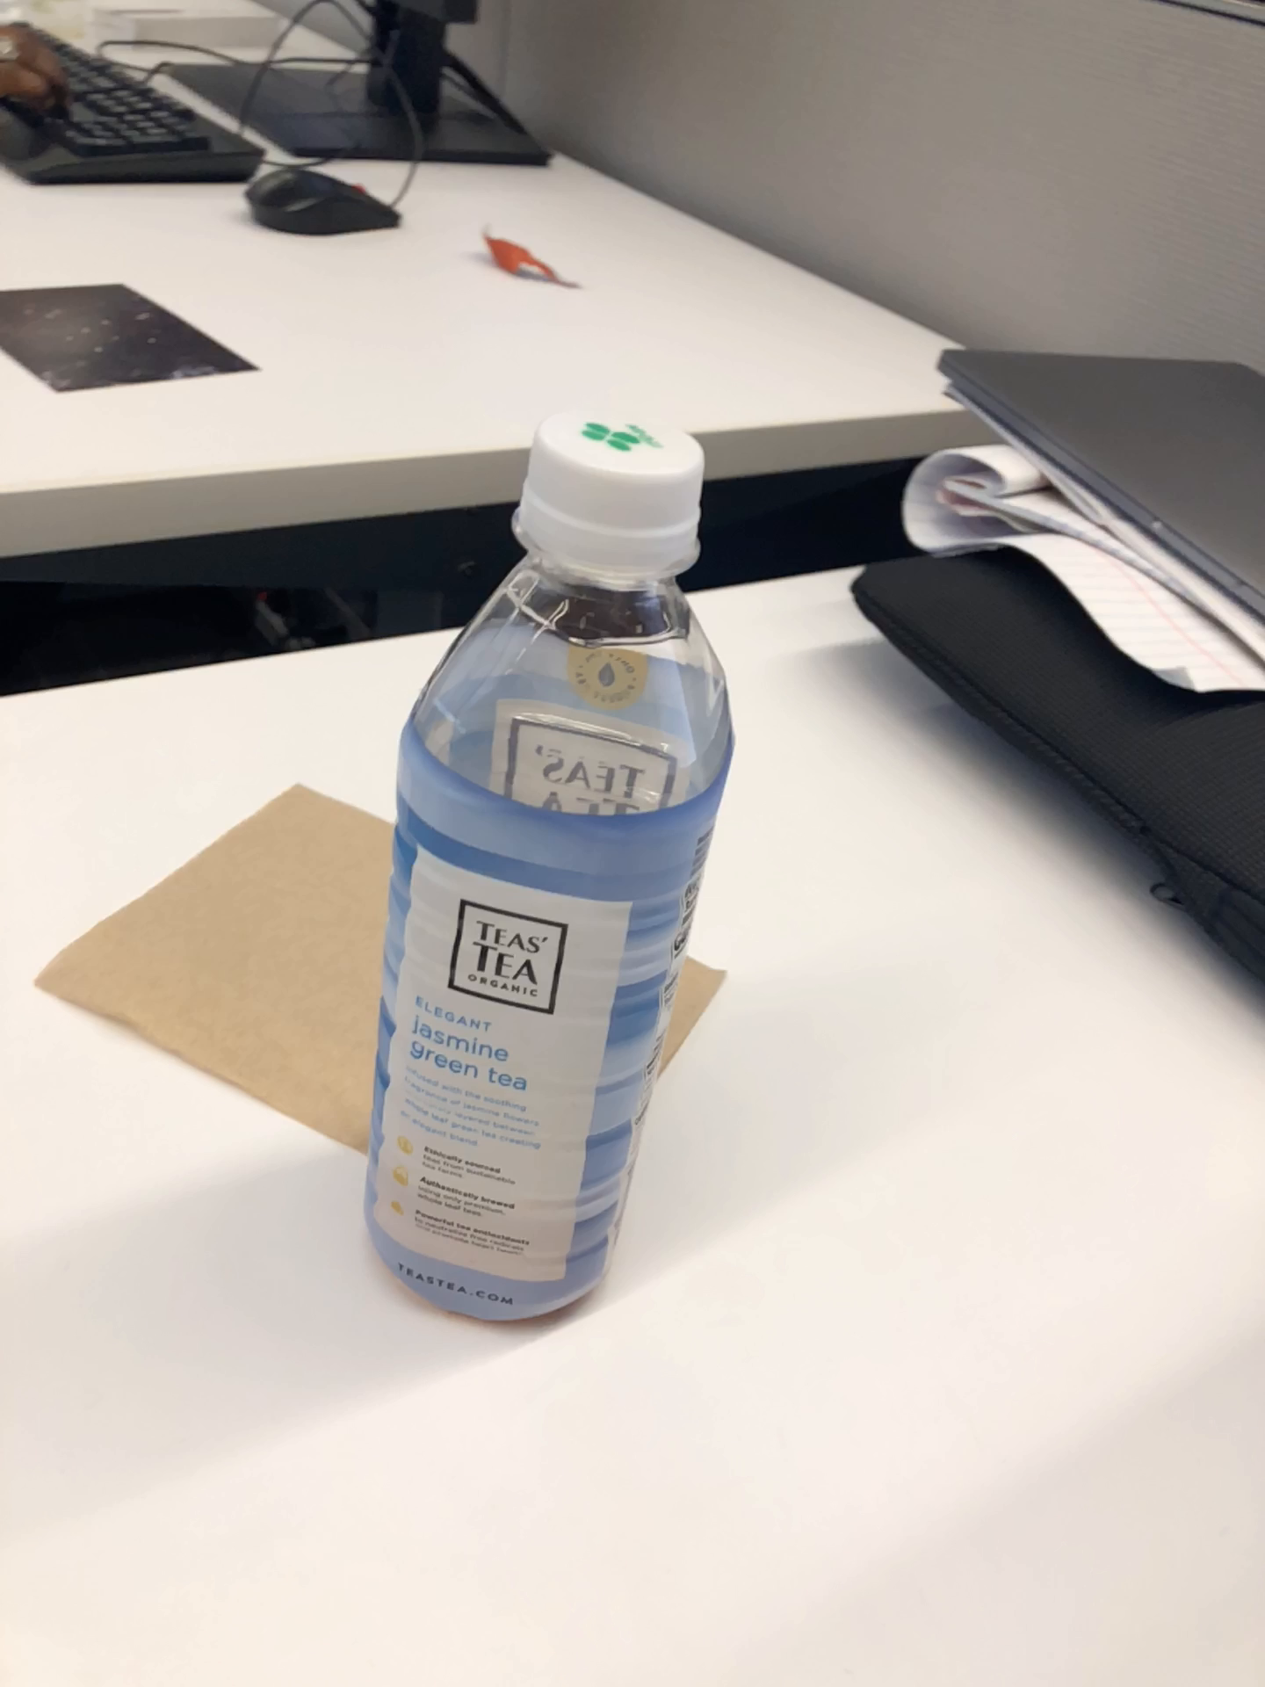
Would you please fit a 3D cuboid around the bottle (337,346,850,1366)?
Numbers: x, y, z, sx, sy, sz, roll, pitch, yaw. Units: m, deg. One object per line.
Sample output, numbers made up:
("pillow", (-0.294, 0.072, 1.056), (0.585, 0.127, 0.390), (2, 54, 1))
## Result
("bottle", (-0.014, 0.012, 0.310), (0.070, 0.209, 0.070), (8, 34, -5))
